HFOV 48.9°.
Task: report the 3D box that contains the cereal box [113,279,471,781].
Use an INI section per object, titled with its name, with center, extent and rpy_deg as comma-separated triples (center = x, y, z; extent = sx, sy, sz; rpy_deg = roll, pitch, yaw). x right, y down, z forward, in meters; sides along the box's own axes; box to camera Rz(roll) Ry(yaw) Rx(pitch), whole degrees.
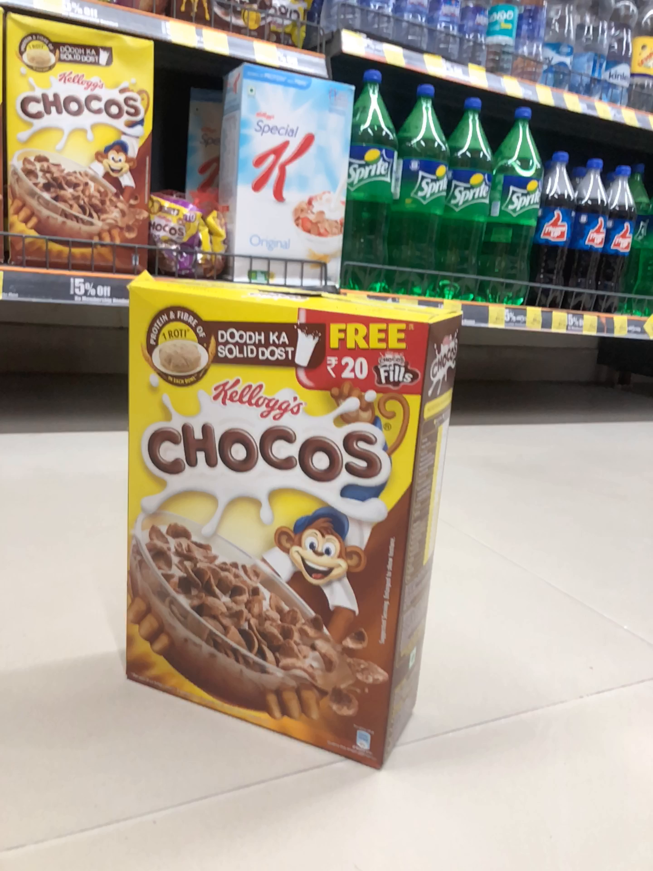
[cereal box]
center = -0.030, 0.047, 0.439
extent = 0.190, 0.259, 0.070
rpy_deg = 11, 17, 21
